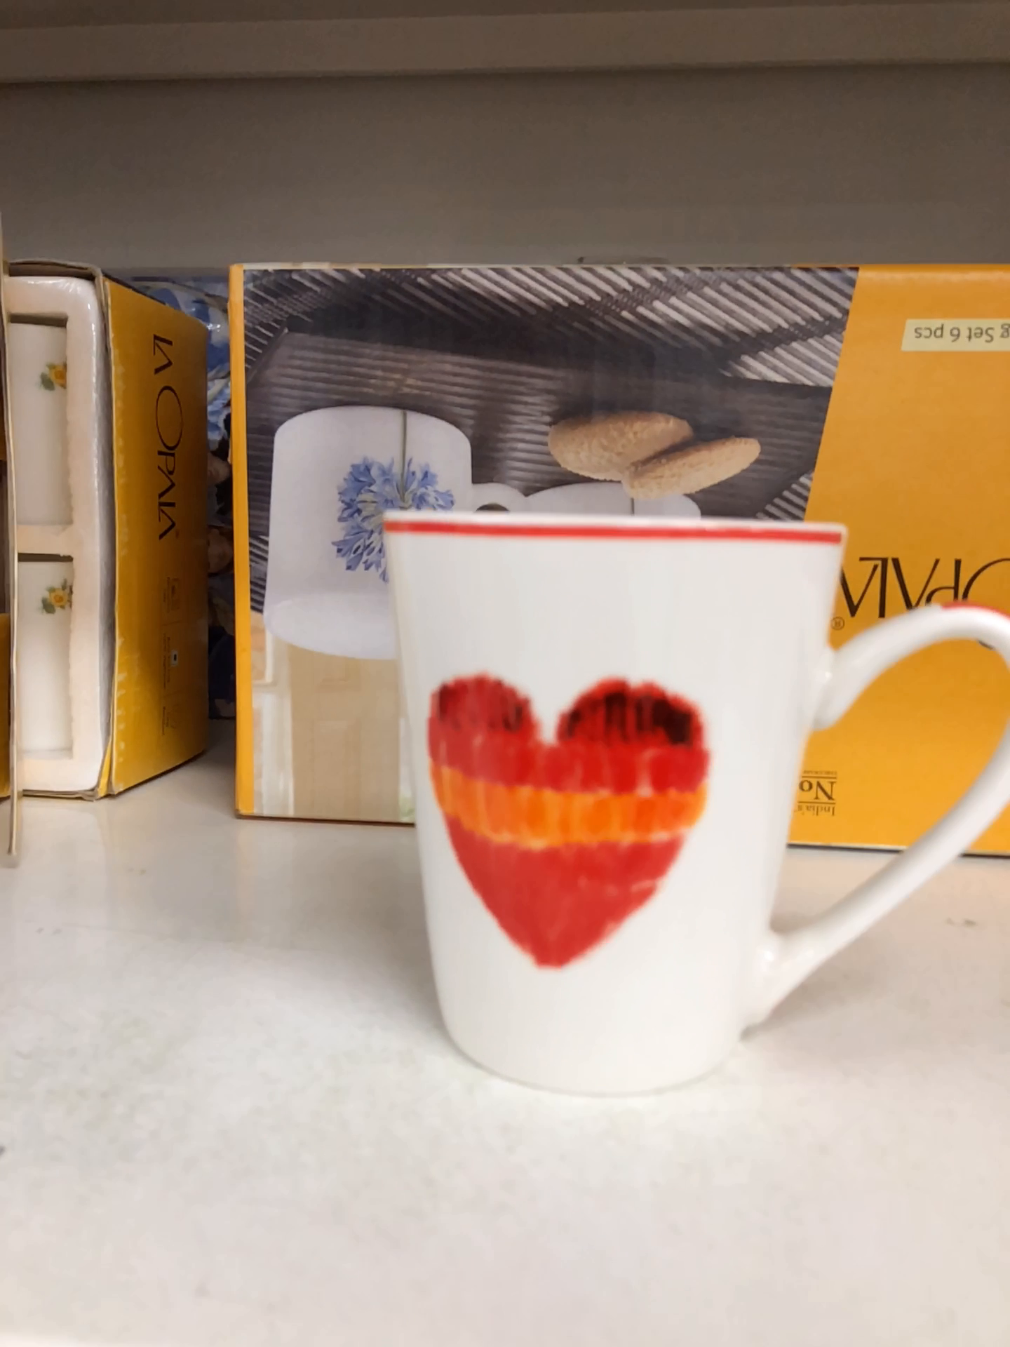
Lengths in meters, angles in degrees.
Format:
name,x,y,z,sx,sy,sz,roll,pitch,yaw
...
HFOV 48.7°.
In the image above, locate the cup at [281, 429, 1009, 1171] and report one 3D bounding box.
name,x,y,z,sx,sy,sz,roll,pitch,yaw
cup,0.032,0.011,0.199,0.120,0.100,0.080,3,8,10
